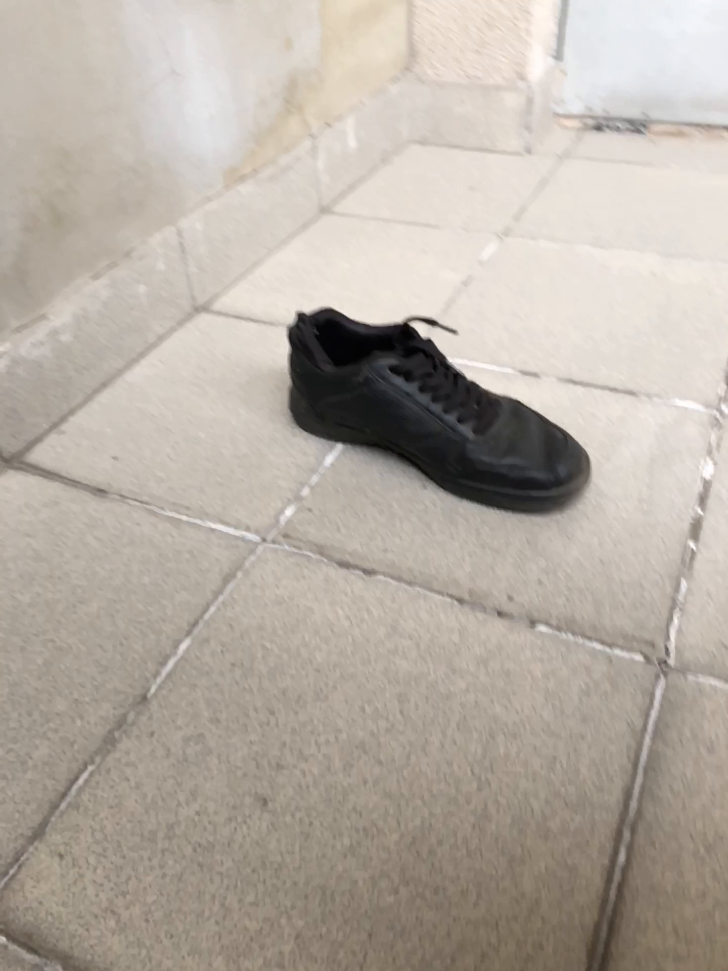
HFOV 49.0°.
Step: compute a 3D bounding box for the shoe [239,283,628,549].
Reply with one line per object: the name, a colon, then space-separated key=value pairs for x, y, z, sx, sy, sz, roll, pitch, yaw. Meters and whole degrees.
shoe: x=0.049 y=-0.069 z=0.662 sx=0.291 sy=0.099 sz=0.111 roll=22 pitch=45 yaw=28
